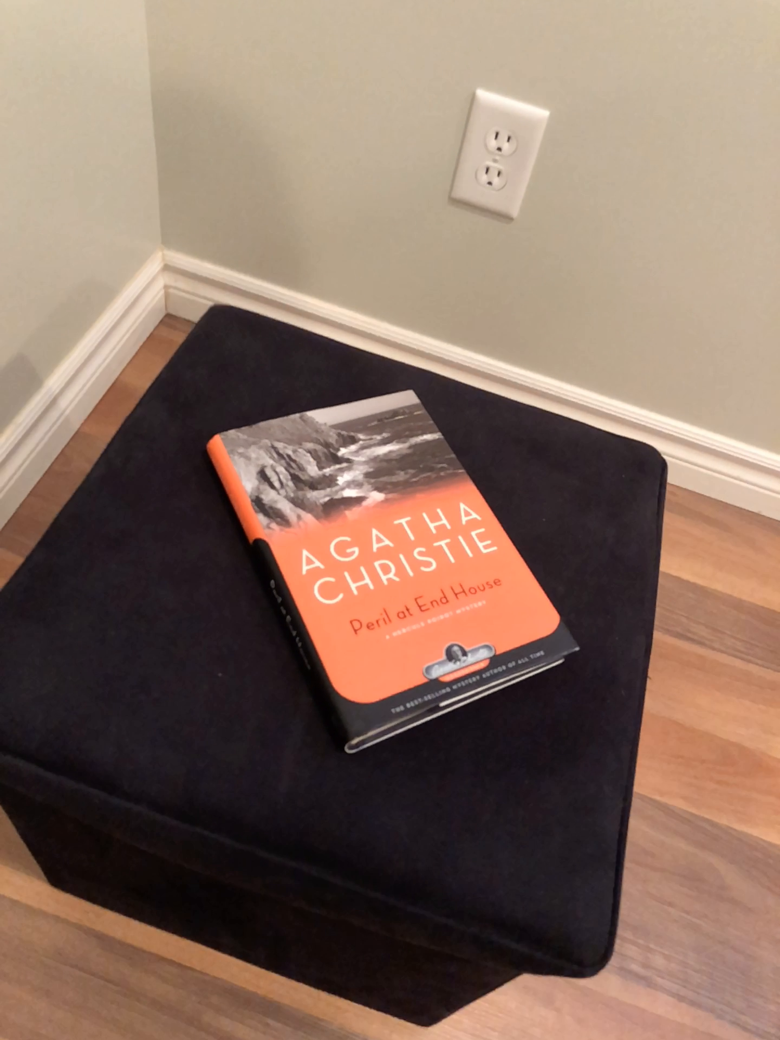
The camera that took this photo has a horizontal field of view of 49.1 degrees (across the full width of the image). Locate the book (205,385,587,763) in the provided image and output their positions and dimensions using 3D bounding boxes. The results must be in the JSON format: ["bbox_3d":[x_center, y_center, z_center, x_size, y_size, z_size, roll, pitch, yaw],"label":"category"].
[{"bbox_3d":[-0.003,0.018,0.506,0.146,0.030,0.206,-18,60,-23],"label":"book"}]
